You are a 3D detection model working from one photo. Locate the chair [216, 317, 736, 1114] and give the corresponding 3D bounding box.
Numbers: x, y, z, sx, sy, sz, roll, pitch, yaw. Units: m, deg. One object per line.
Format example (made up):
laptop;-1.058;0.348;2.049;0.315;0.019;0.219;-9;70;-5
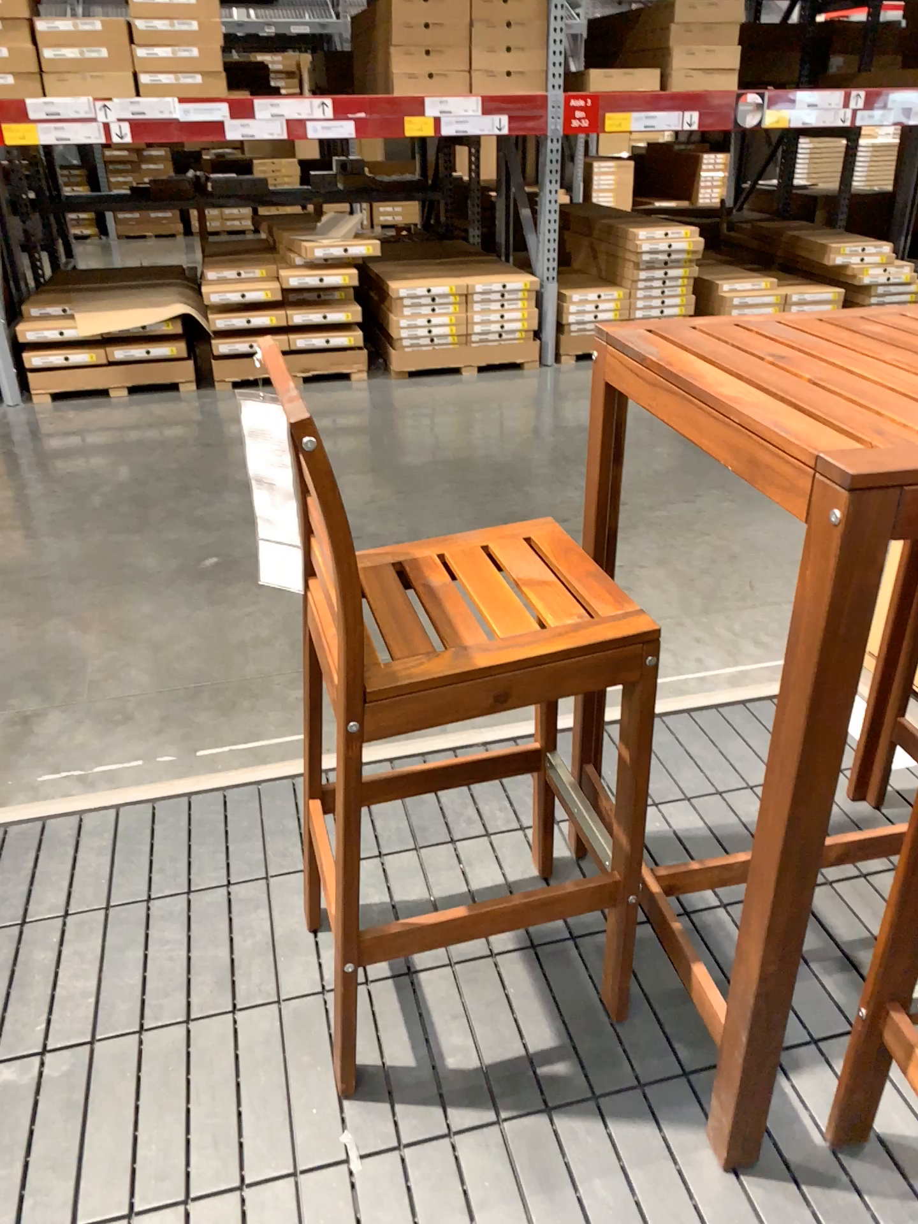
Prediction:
chair;-0.009;0.144;1.348;0.520;0.995;0.432;-8;29;-14
